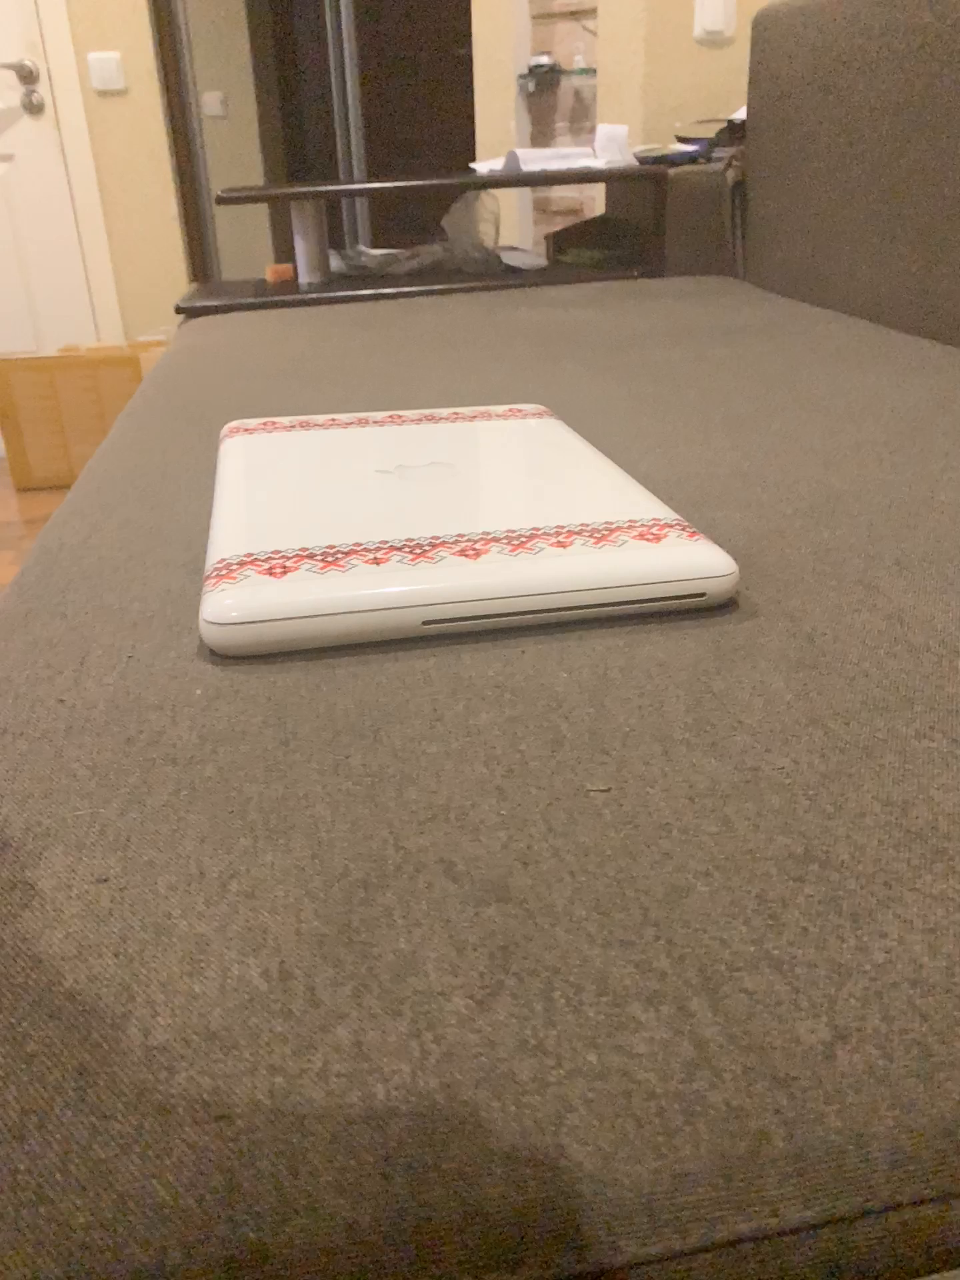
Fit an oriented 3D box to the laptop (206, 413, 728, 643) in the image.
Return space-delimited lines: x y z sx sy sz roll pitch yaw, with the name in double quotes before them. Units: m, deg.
"laptop" -0.038 -0.082 0.557 0.221 0.003 0.327 -8 26 -10
